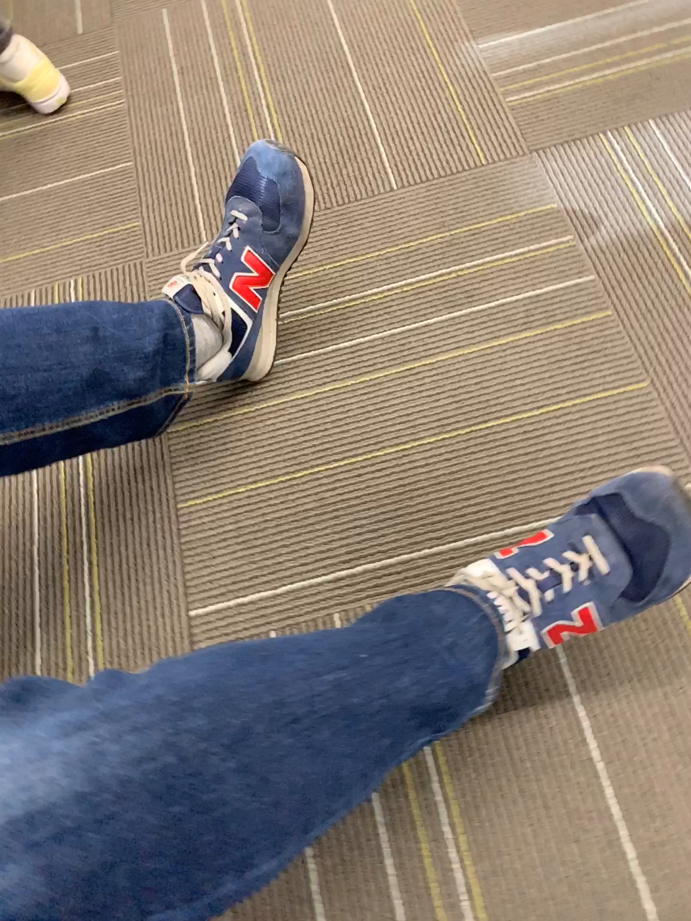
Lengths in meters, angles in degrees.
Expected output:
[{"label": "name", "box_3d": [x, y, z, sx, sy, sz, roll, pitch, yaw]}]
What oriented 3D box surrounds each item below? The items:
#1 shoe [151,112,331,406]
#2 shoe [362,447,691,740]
[{"label": "shoe", "box_3d": [-0.133, -0.232, 0.843, 0.115, 0.302, 0.096, 35, 34, 22]}, {"label": "shoe", "box_3d": [0.172, 0.131, 0.655, 0.135, 0.296, 0.120, -18, 70, -45]}]
